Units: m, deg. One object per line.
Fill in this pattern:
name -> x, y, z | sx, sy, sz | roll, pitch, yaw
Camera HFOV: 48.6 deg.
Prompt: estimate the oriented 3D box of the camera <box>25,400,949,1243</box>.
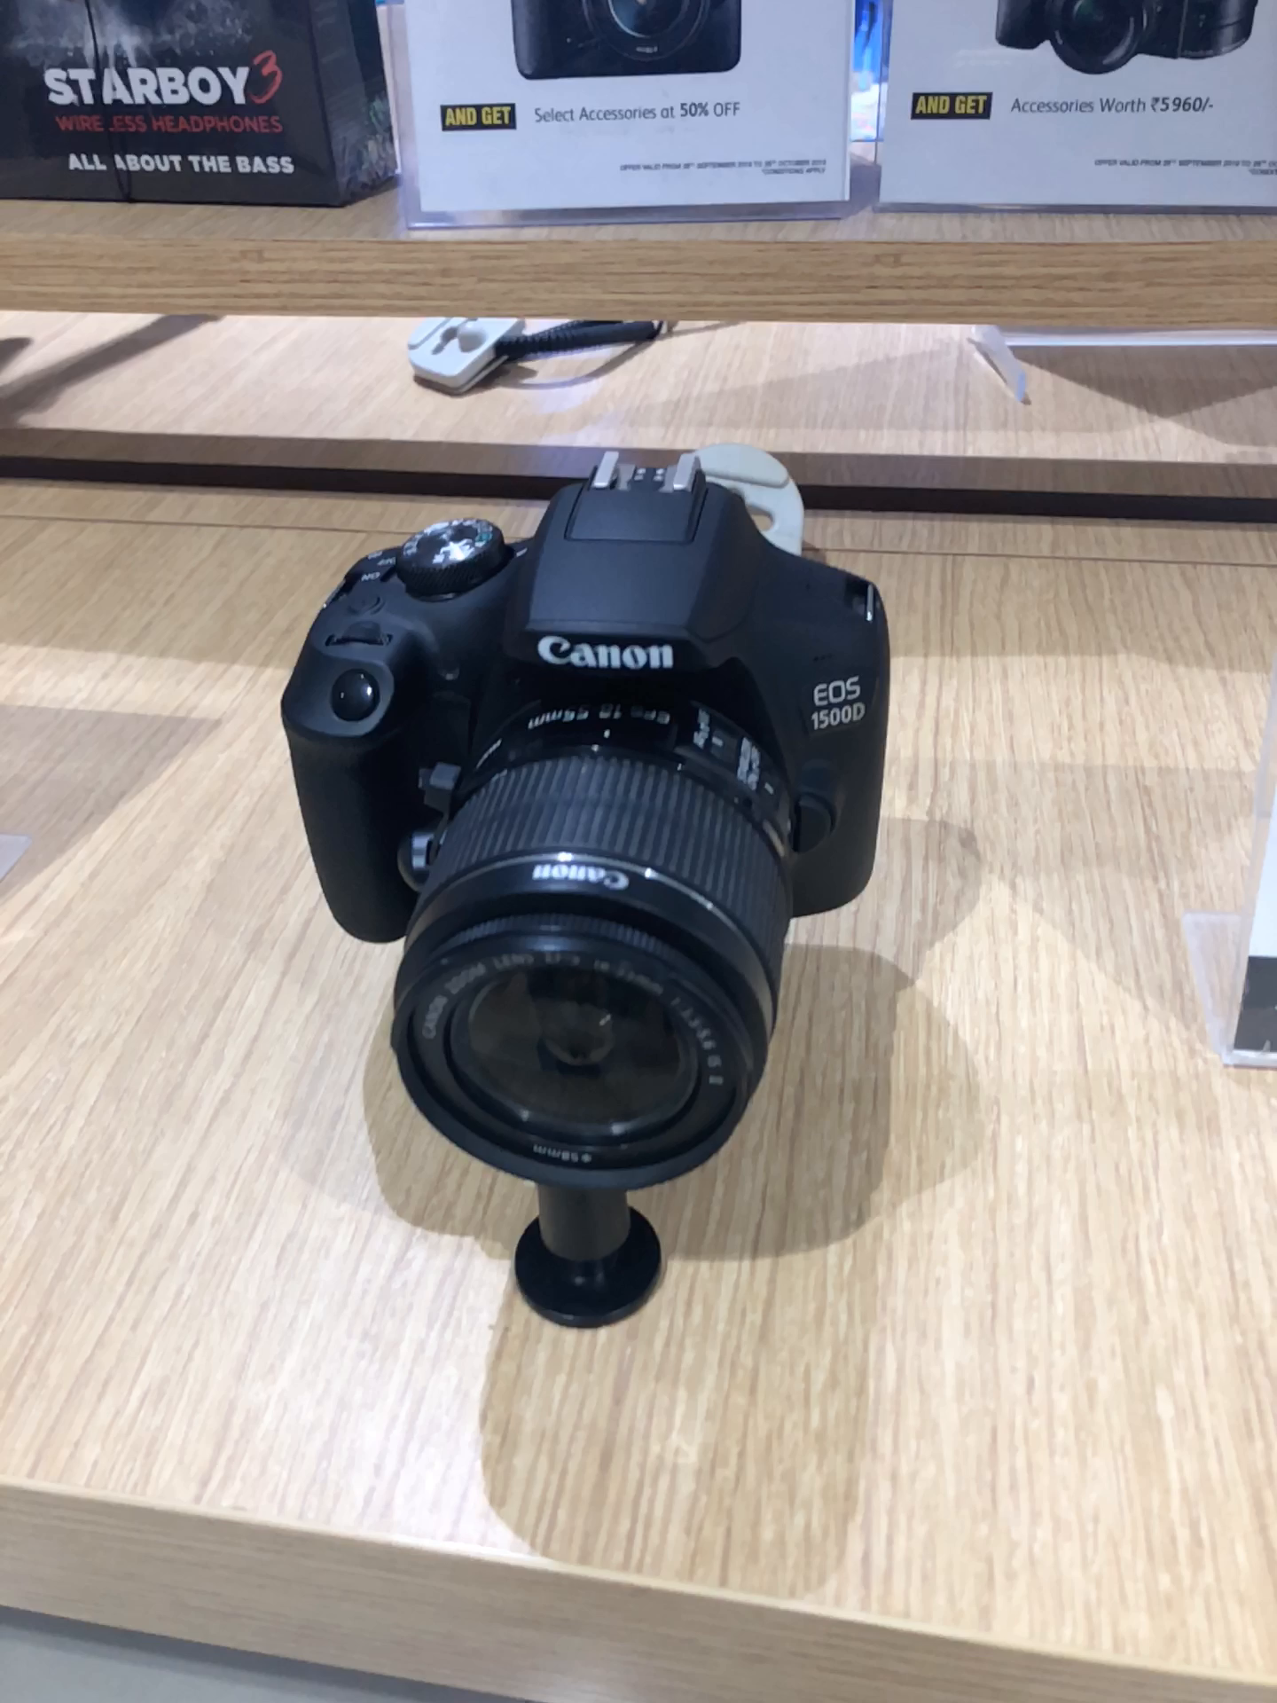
camera -> -0.010, -0.018, 0.276 | 0.130, 0.089, 0.141 | 4, 38, 10
